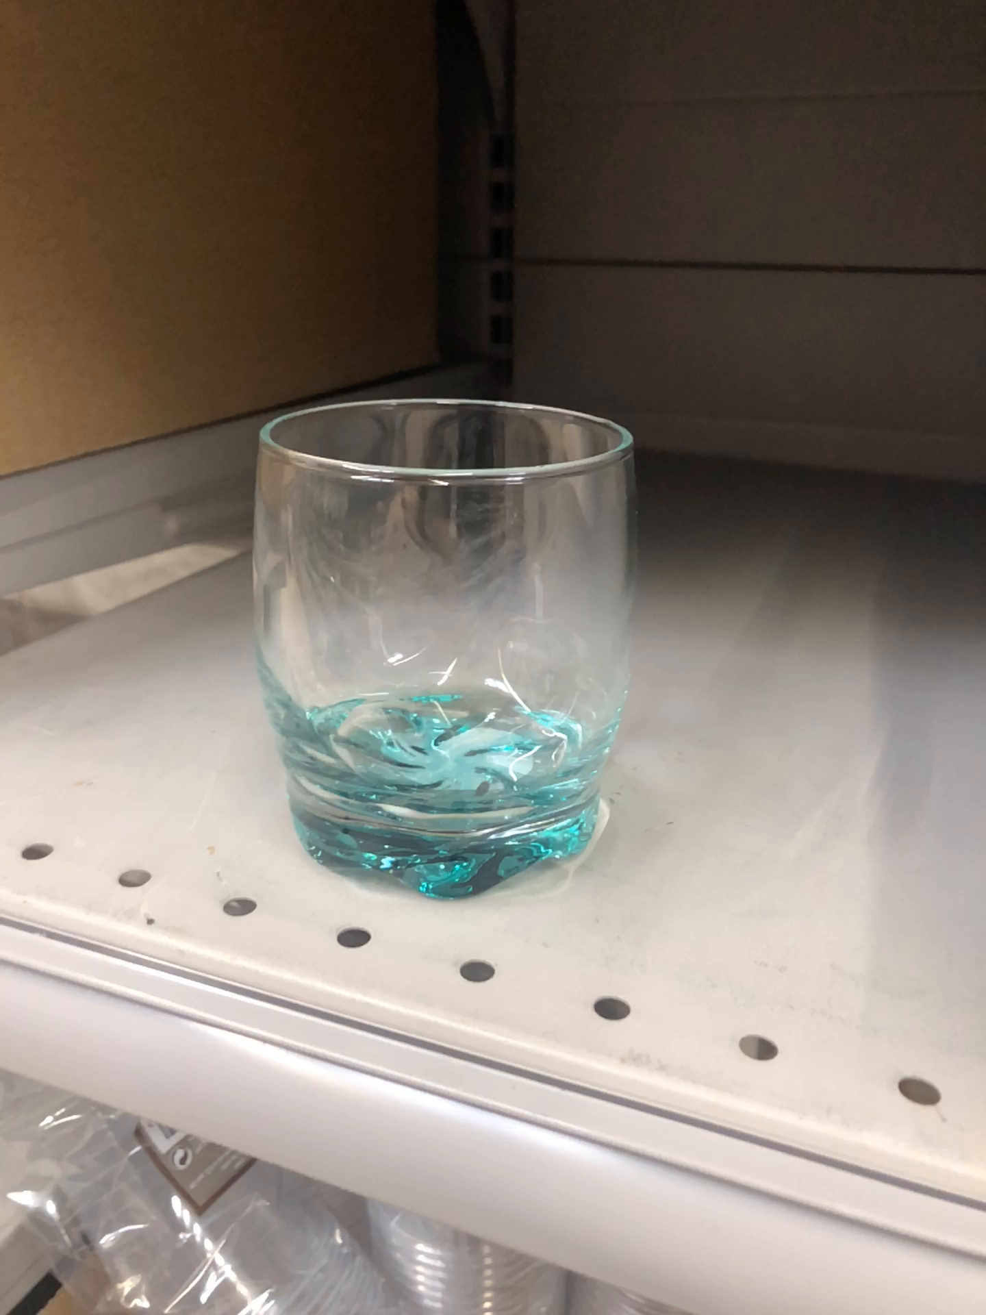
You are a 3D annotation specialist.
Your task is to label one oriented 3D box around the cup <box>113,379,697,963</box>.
[{"bbox_3d":[-0.014,-0.006,0.222,0.082,0.082,0.075,13,25,26],"label":"cup"}]
